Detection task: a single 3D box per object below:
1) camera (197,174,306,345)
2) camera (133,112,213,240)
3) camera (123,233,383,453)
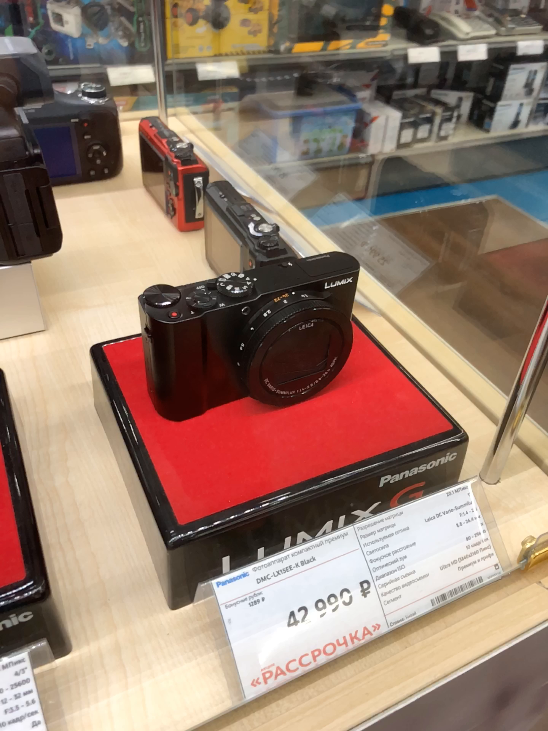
[{"bbox_3d":[-0.020,-0.079,0.433,0.033,0.072,0.110,-14,42,-21],"label":"camera"},{"bbox_3d":[-0.091,-0.172,0.547,0.033,0.072,0.110,-15,43,-22],"label":"camera"},{"bbox_3d":[-0.009,-0.013,0.293,0.110,0.070,0.040,-17,44,-24],"label":"camera"}]
